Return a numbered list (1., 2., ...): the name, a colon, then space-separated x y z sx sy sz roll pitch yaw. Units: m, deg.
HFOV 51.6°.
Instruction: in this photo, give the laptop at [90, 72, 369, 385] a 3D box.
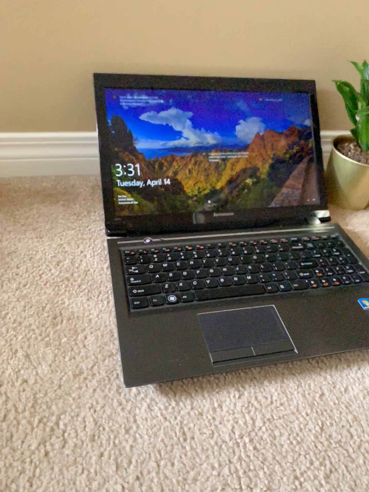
1. laptop: 0.082 -0.071 0.518 0.372 0.166 0.412 -4 42 -15
